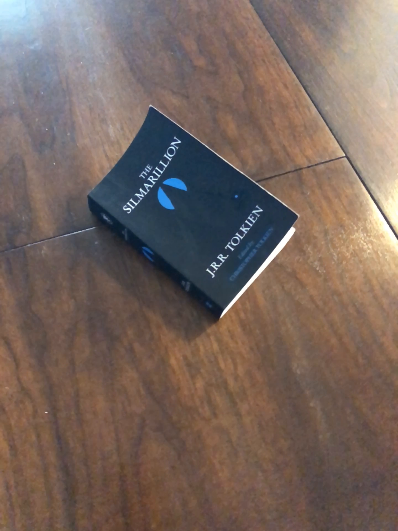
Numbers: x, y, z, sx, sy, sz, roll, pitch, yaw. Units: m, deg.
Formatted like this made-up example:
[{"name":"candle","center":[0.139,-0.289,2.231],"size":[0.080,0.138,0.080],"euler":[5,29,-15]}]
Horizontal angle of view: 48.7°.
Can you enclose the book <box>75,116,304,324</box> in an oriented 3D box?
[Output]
[{"name":"book","center":[-0.010,-0.049,0.428],"size":[0.180,0.040,0.119],"euler":[38,68,12]}]
